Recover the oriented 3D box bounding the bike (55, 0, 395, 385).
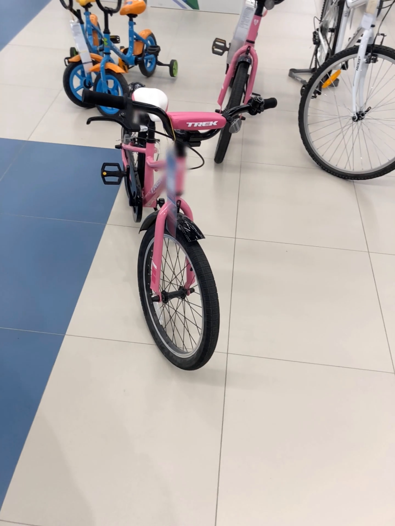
[{"bbox_3d":[-0.100,-0.390,1.504,0.556,0.835,1.302,-11,44,-13],"label":"bike"}]
